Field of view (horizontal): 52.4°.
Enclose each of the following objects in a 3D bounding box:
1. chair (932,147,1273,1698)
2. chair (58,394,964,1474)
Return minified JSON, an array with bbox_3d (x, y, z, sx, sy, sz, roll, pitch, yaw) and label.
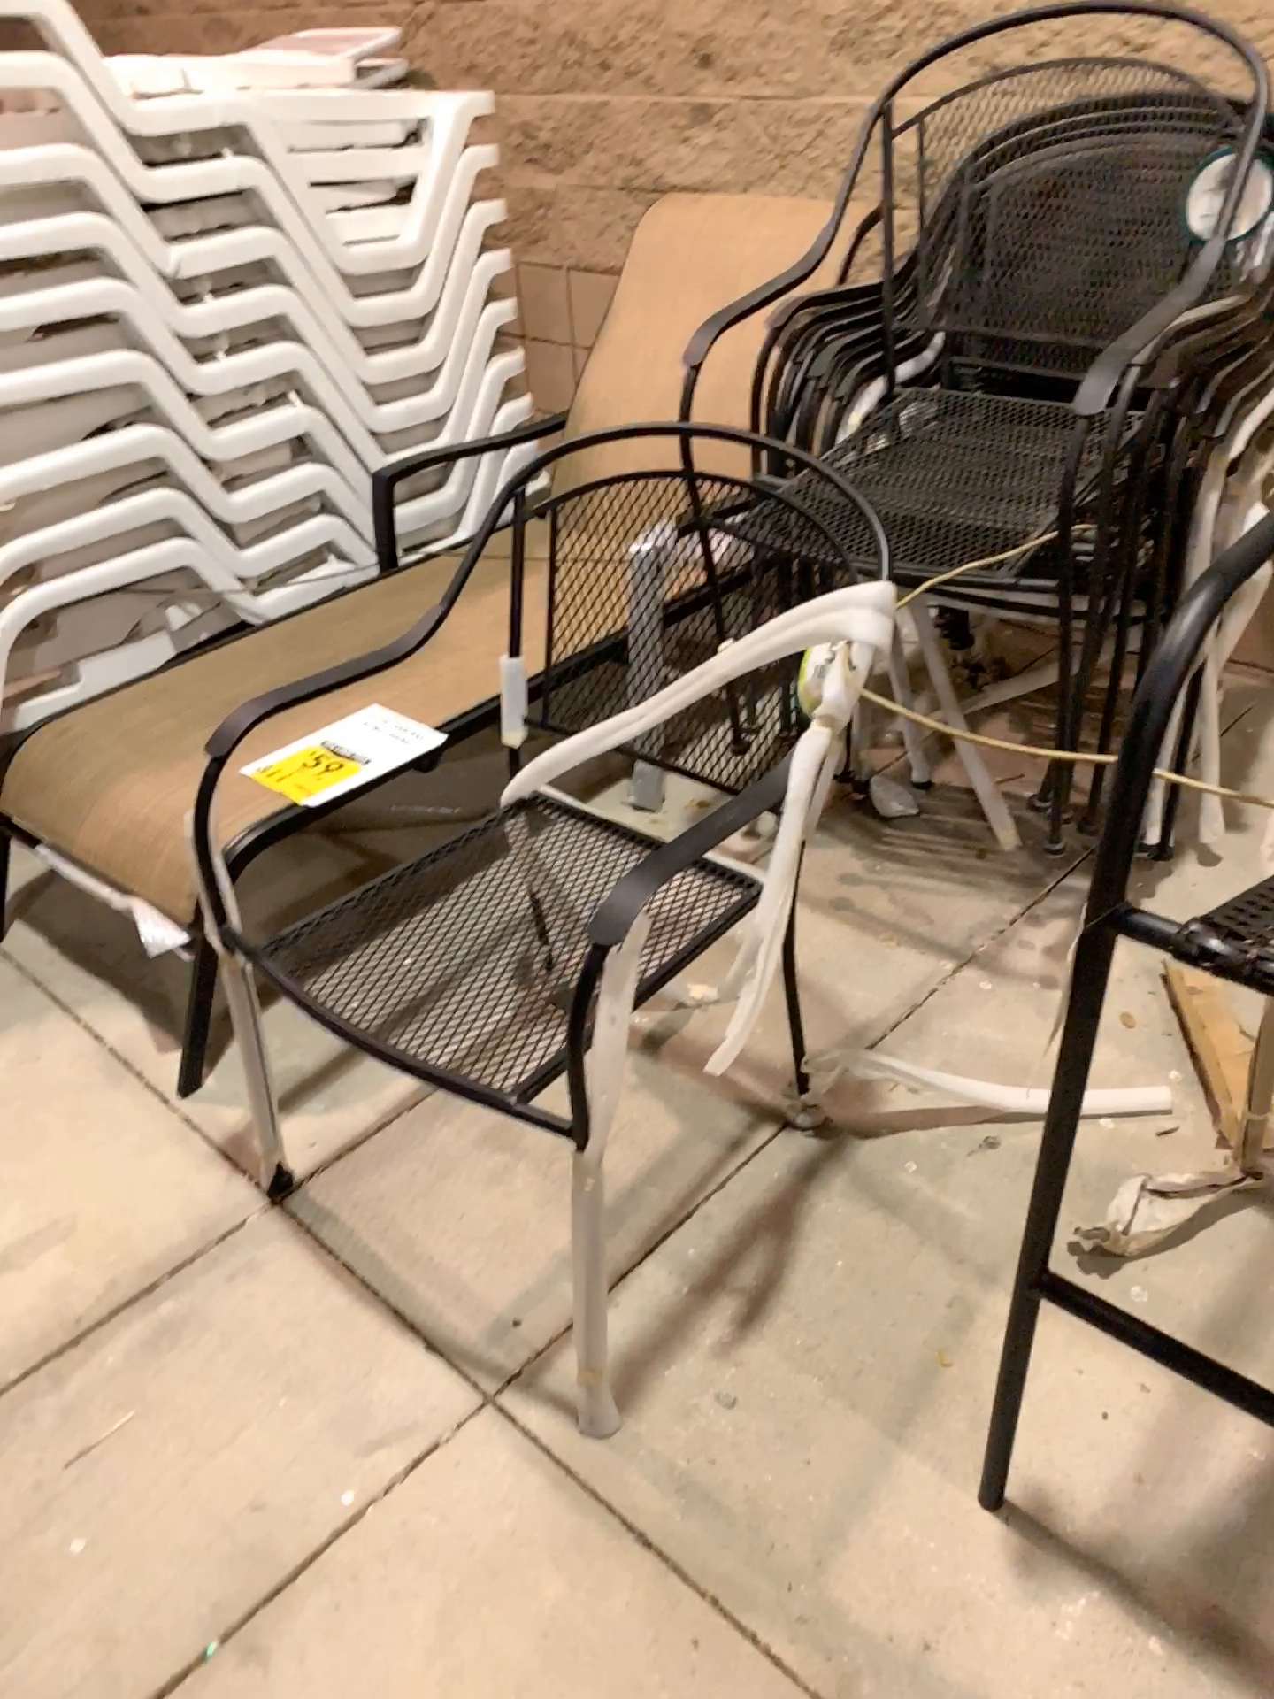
[{"bbox_3d":[0.746,0.130,1.014,0.636,1.128,0.710,25,41,36],"label":"chair"},{"bbox_3d":[-0.085,0.040,1.456,0.576,0.869,0.640,21,40,33],"label":"chair"}]
